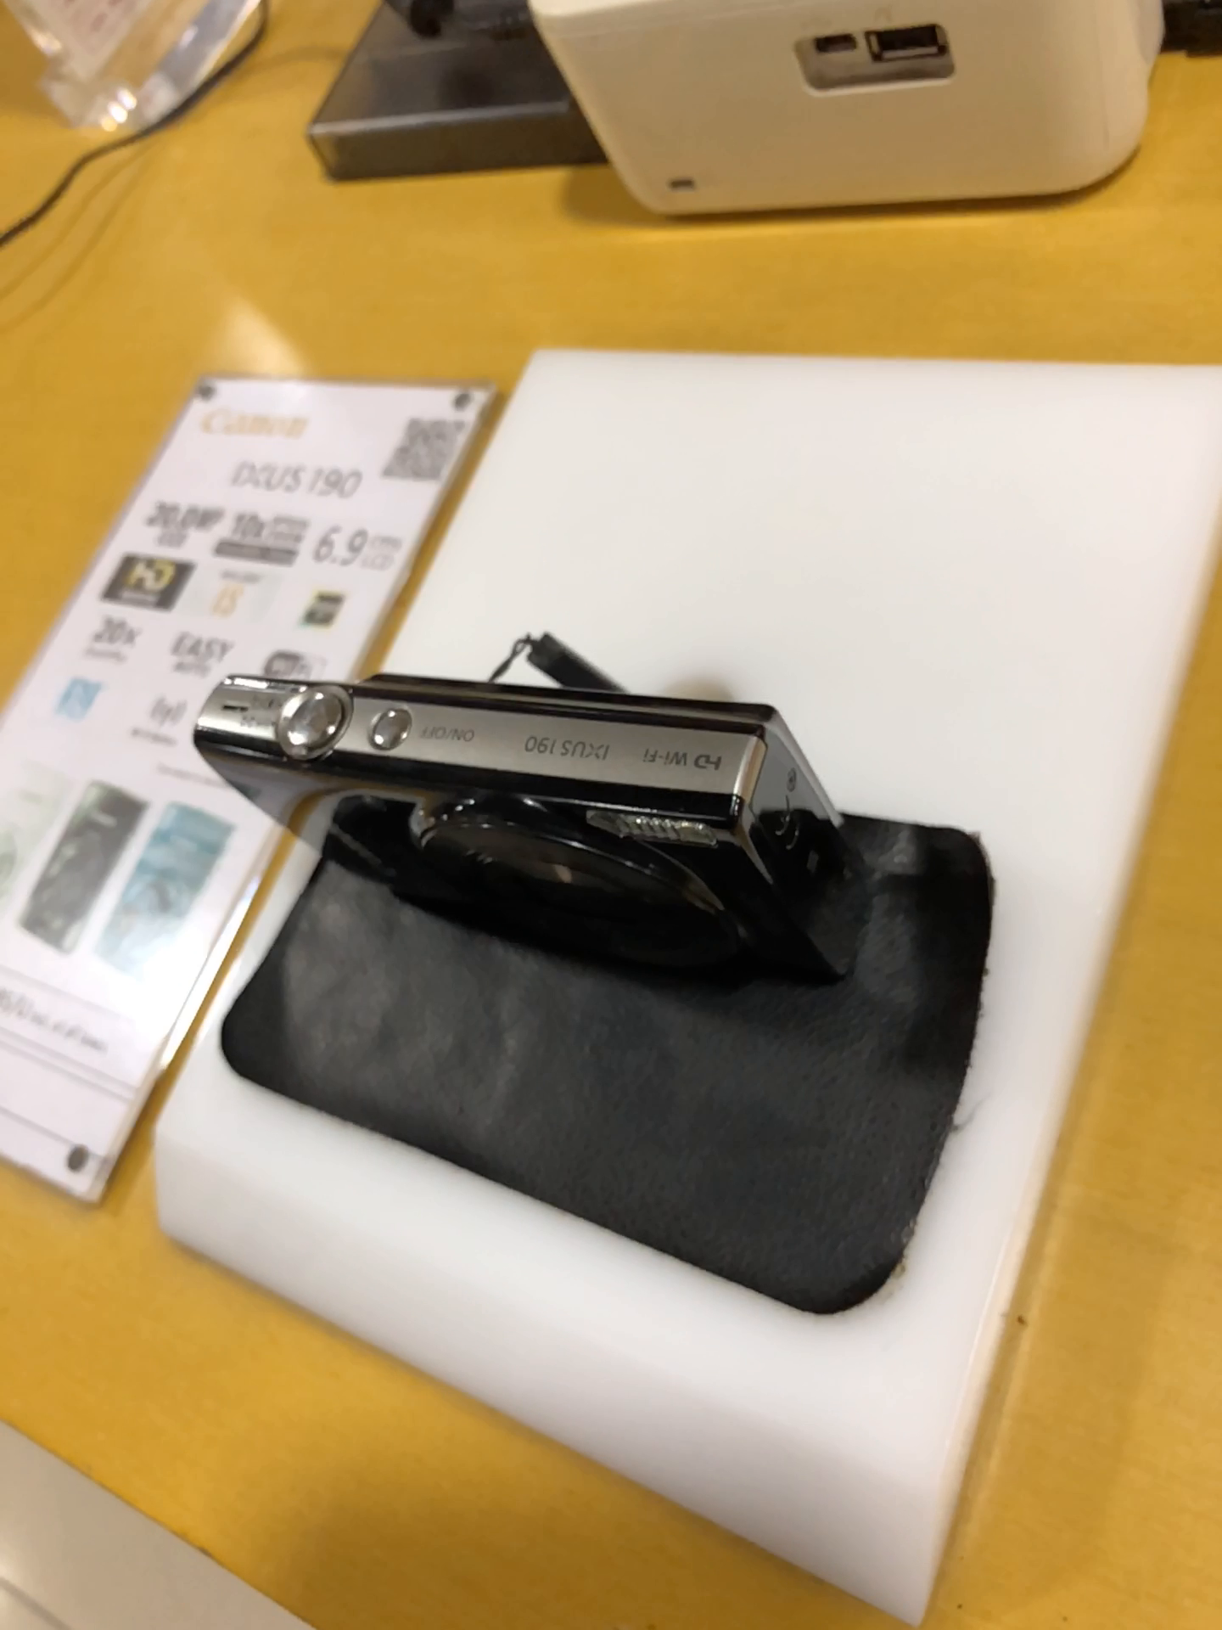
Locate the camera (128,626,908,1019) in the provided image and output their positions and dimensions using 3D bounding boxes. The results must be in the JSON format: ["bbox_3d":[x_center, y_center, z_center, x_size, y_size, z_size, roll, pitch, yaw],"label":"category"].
[{"bbox_3d":[-0.013,0.000,0.204,0.100,0.050,0.030,6,67,28],"label":"camera"}]
